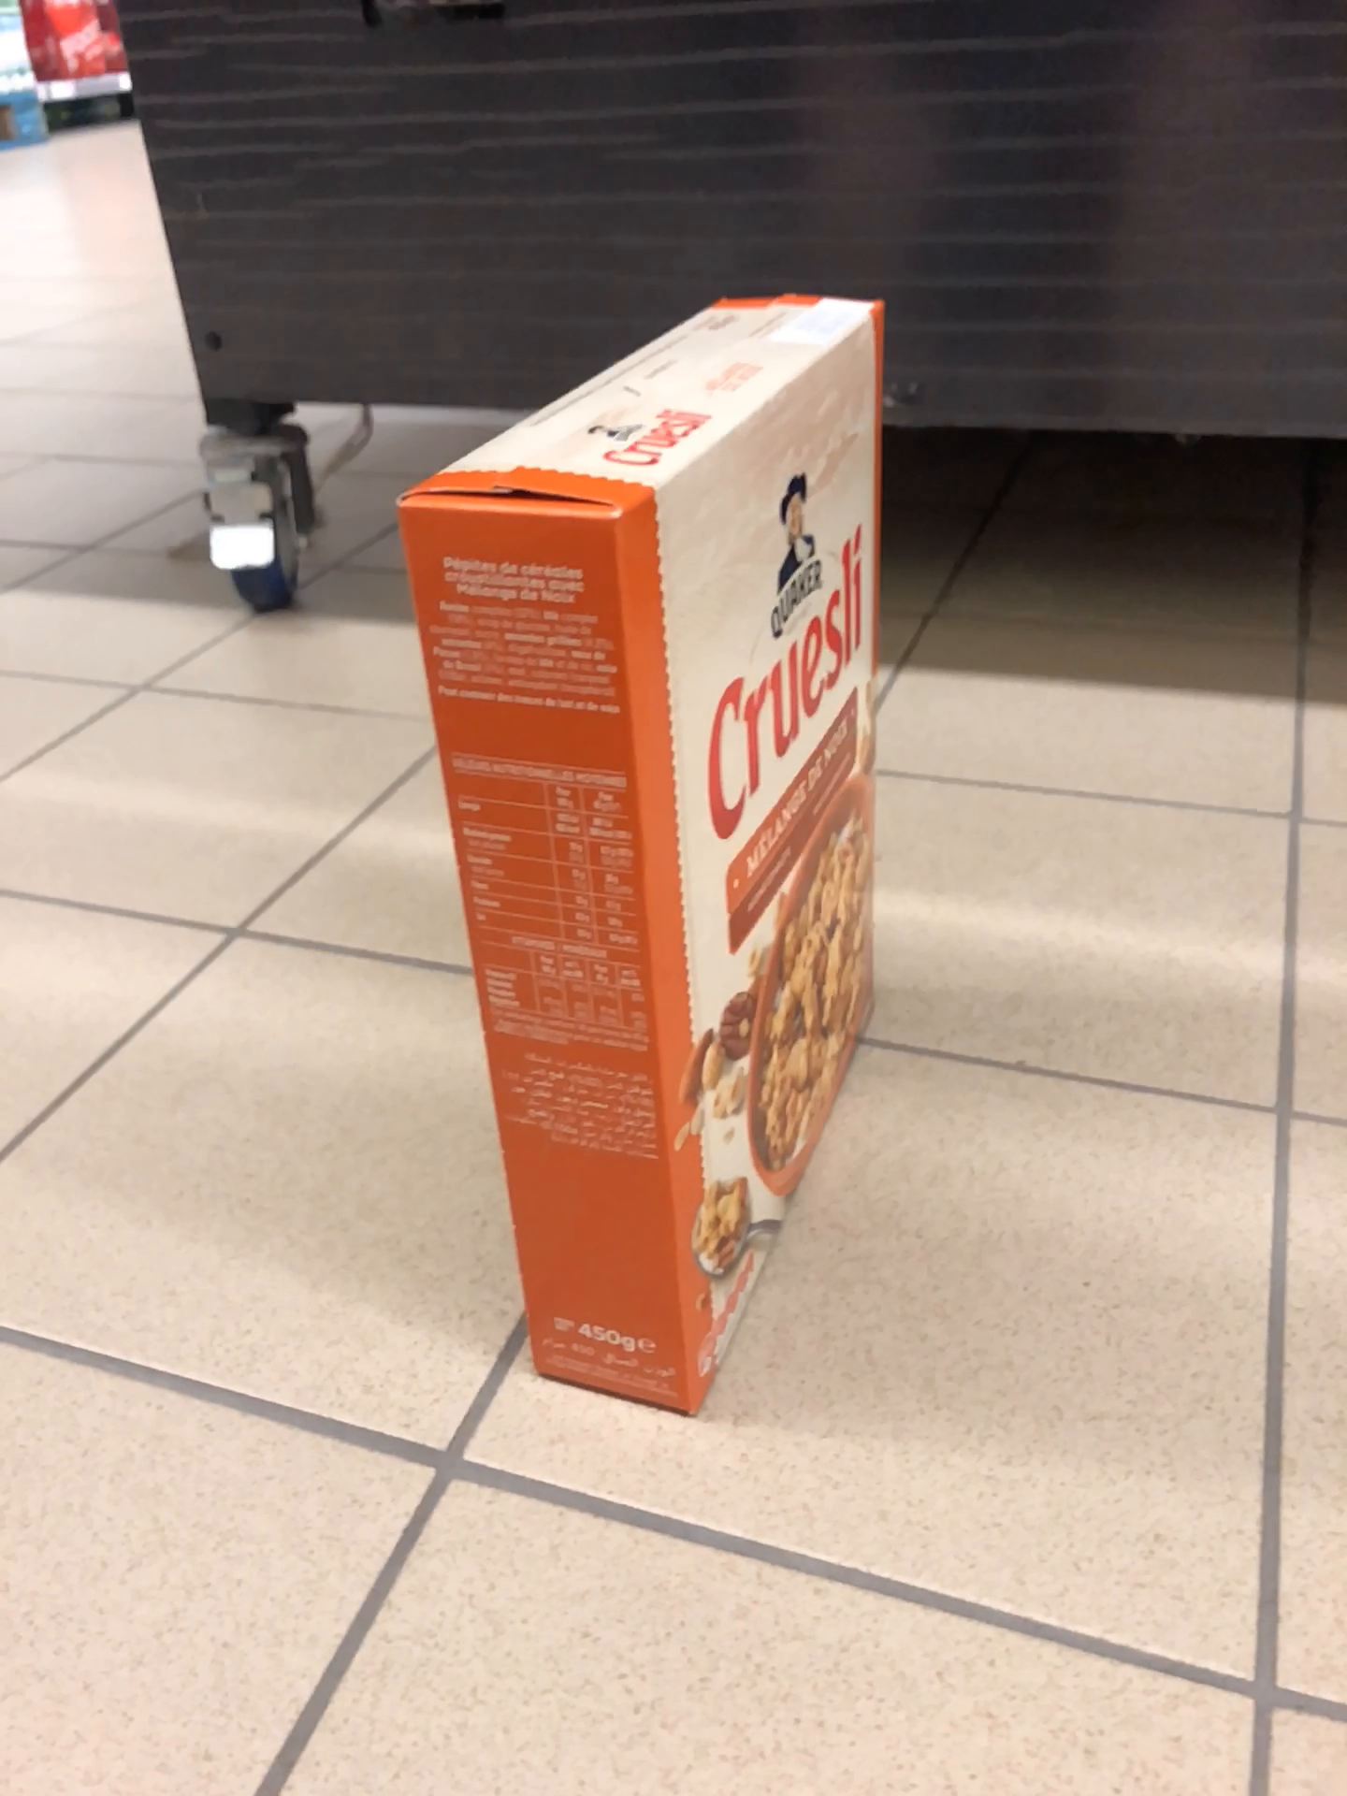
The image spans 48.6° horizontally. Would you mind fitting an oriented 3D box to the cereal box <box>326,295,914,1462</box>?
[{"bbox_3d":[0.008,-0.016,0.411,0.060,0.249,0.201,9,33,21],"label":"cereal box"}]
